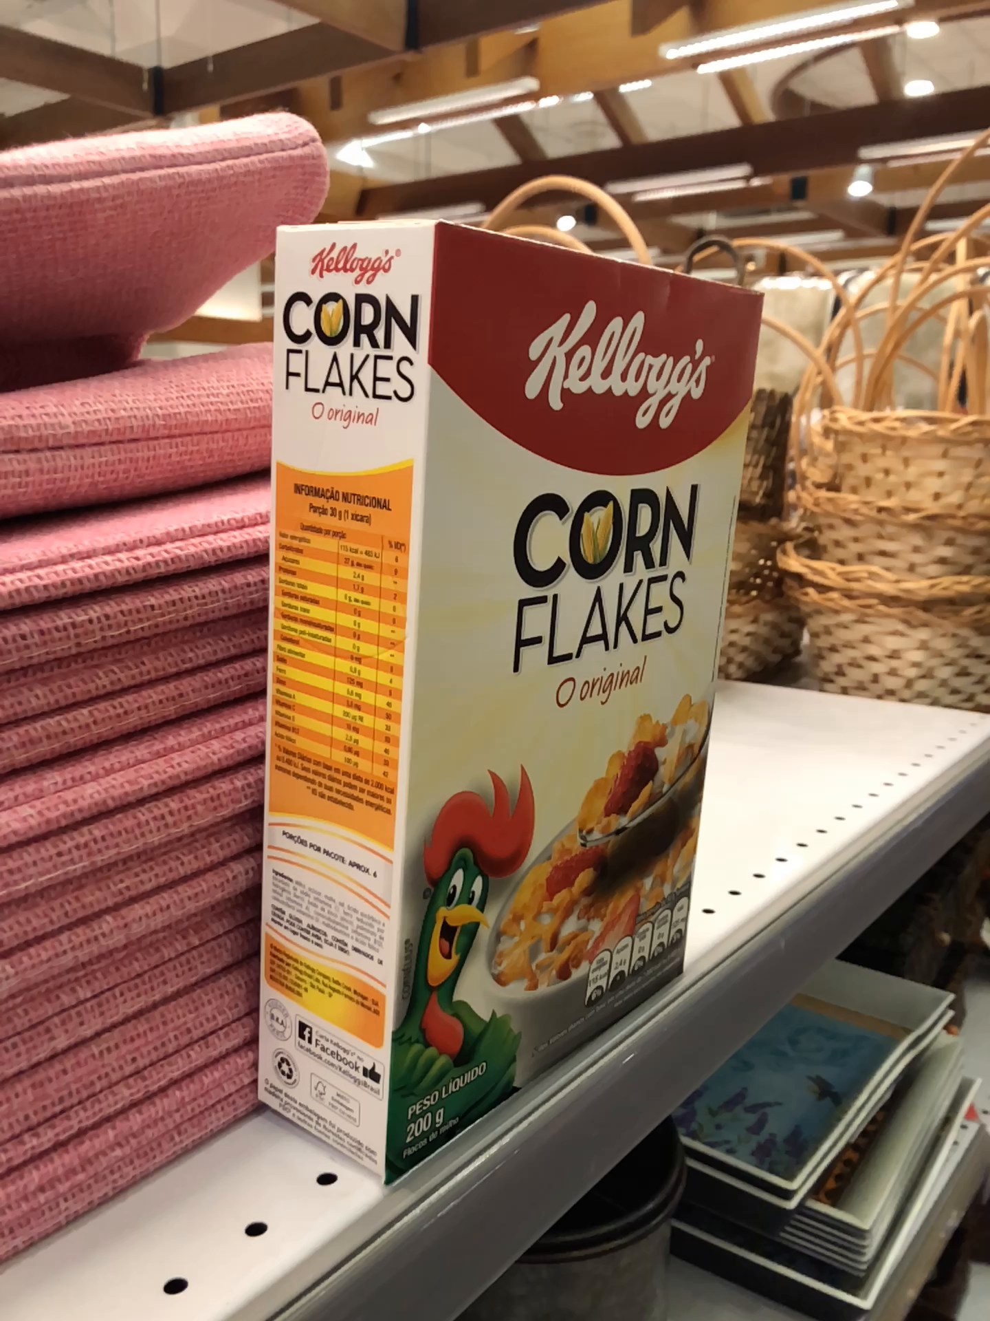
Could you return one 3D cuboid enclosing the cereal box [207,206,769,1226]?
[{"bbox_3d":[0.003,0.008,0.353,0.060,0.259,0.180,15,18,37],"label":"cereal box"}]
